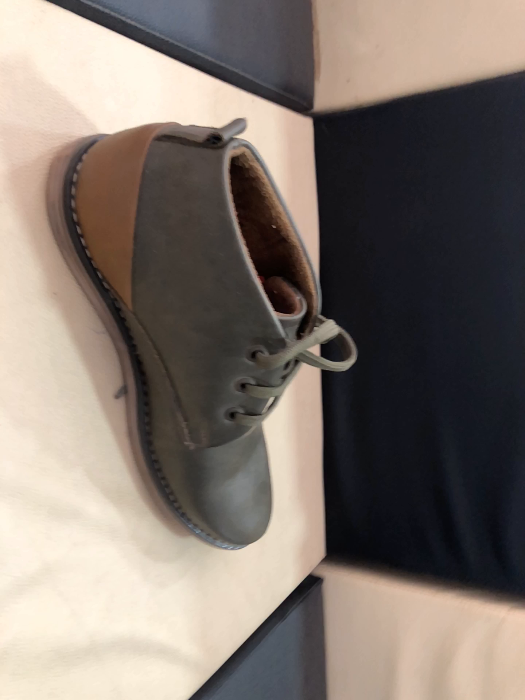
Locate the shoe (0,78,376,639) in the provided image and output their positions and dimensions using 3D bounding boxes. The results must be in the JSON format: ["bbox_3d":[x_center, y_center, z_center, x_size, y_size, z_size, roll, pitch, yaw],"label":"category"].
[{"bbox_3d":[-0.019,0.019,0.317,0.080,0.099,0.281,-48,132,-47],"label":"shoe"}]
